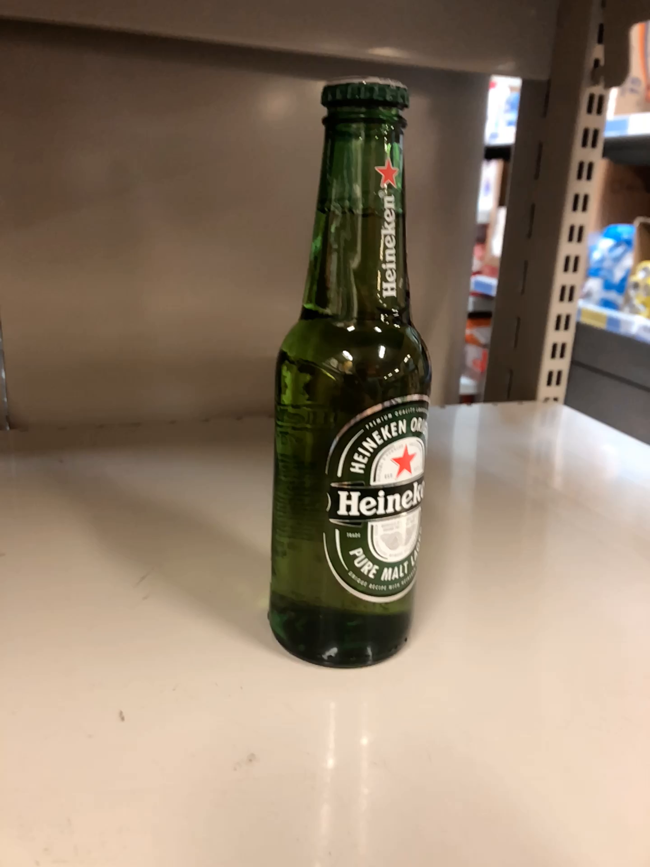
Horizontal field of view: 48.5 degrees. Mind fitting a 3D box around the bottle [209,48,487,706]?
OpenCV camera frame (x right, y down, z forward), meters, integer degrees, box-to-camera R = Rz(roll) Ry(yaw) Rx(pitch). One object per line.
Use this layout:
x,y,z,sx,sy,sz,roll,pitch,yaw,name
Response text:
0.003,-0.017,0.253,0.060,0.199,0.060,3,18,-1,bottle
